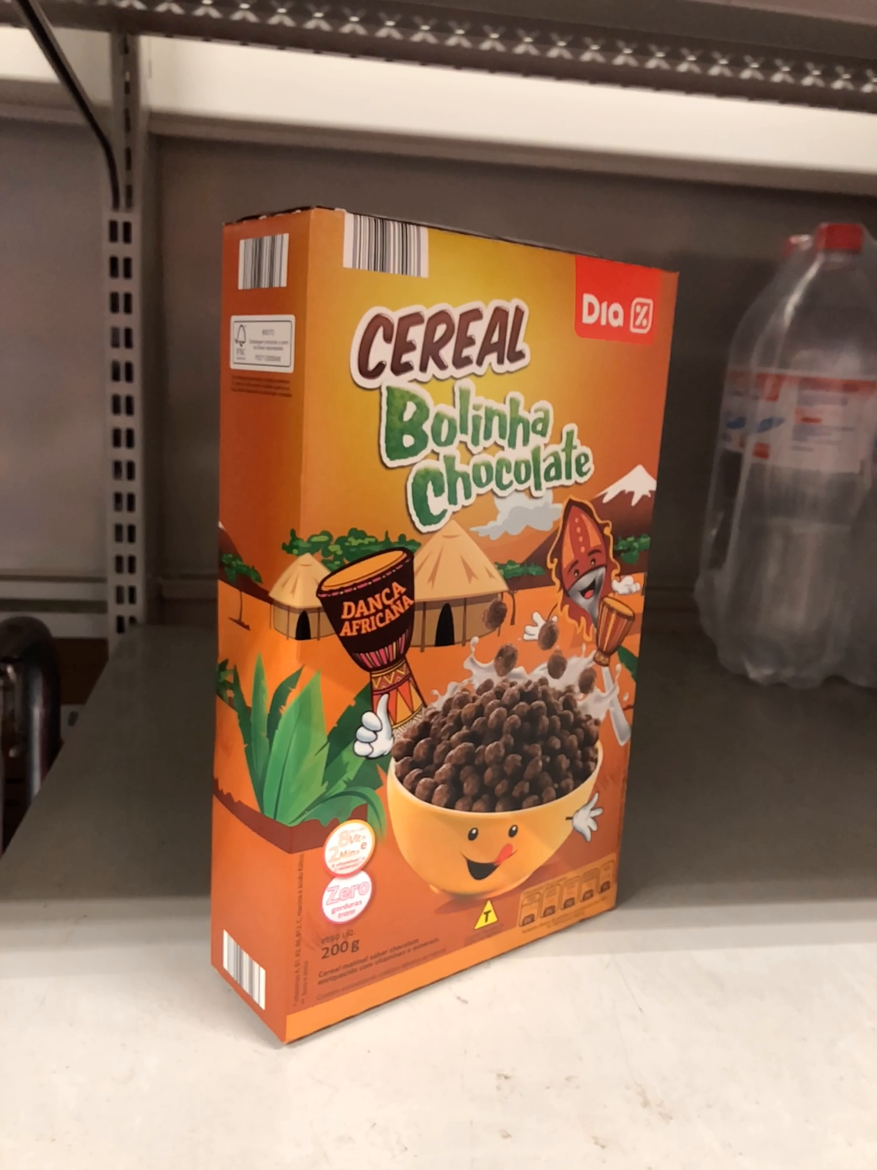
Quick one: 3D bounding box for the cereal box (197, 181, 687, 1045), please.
[{"bbox_3d":[0.004,0.006,0.365,0.170,0.259,0.060,-5,12,-39],"label":"cereal box"}]
